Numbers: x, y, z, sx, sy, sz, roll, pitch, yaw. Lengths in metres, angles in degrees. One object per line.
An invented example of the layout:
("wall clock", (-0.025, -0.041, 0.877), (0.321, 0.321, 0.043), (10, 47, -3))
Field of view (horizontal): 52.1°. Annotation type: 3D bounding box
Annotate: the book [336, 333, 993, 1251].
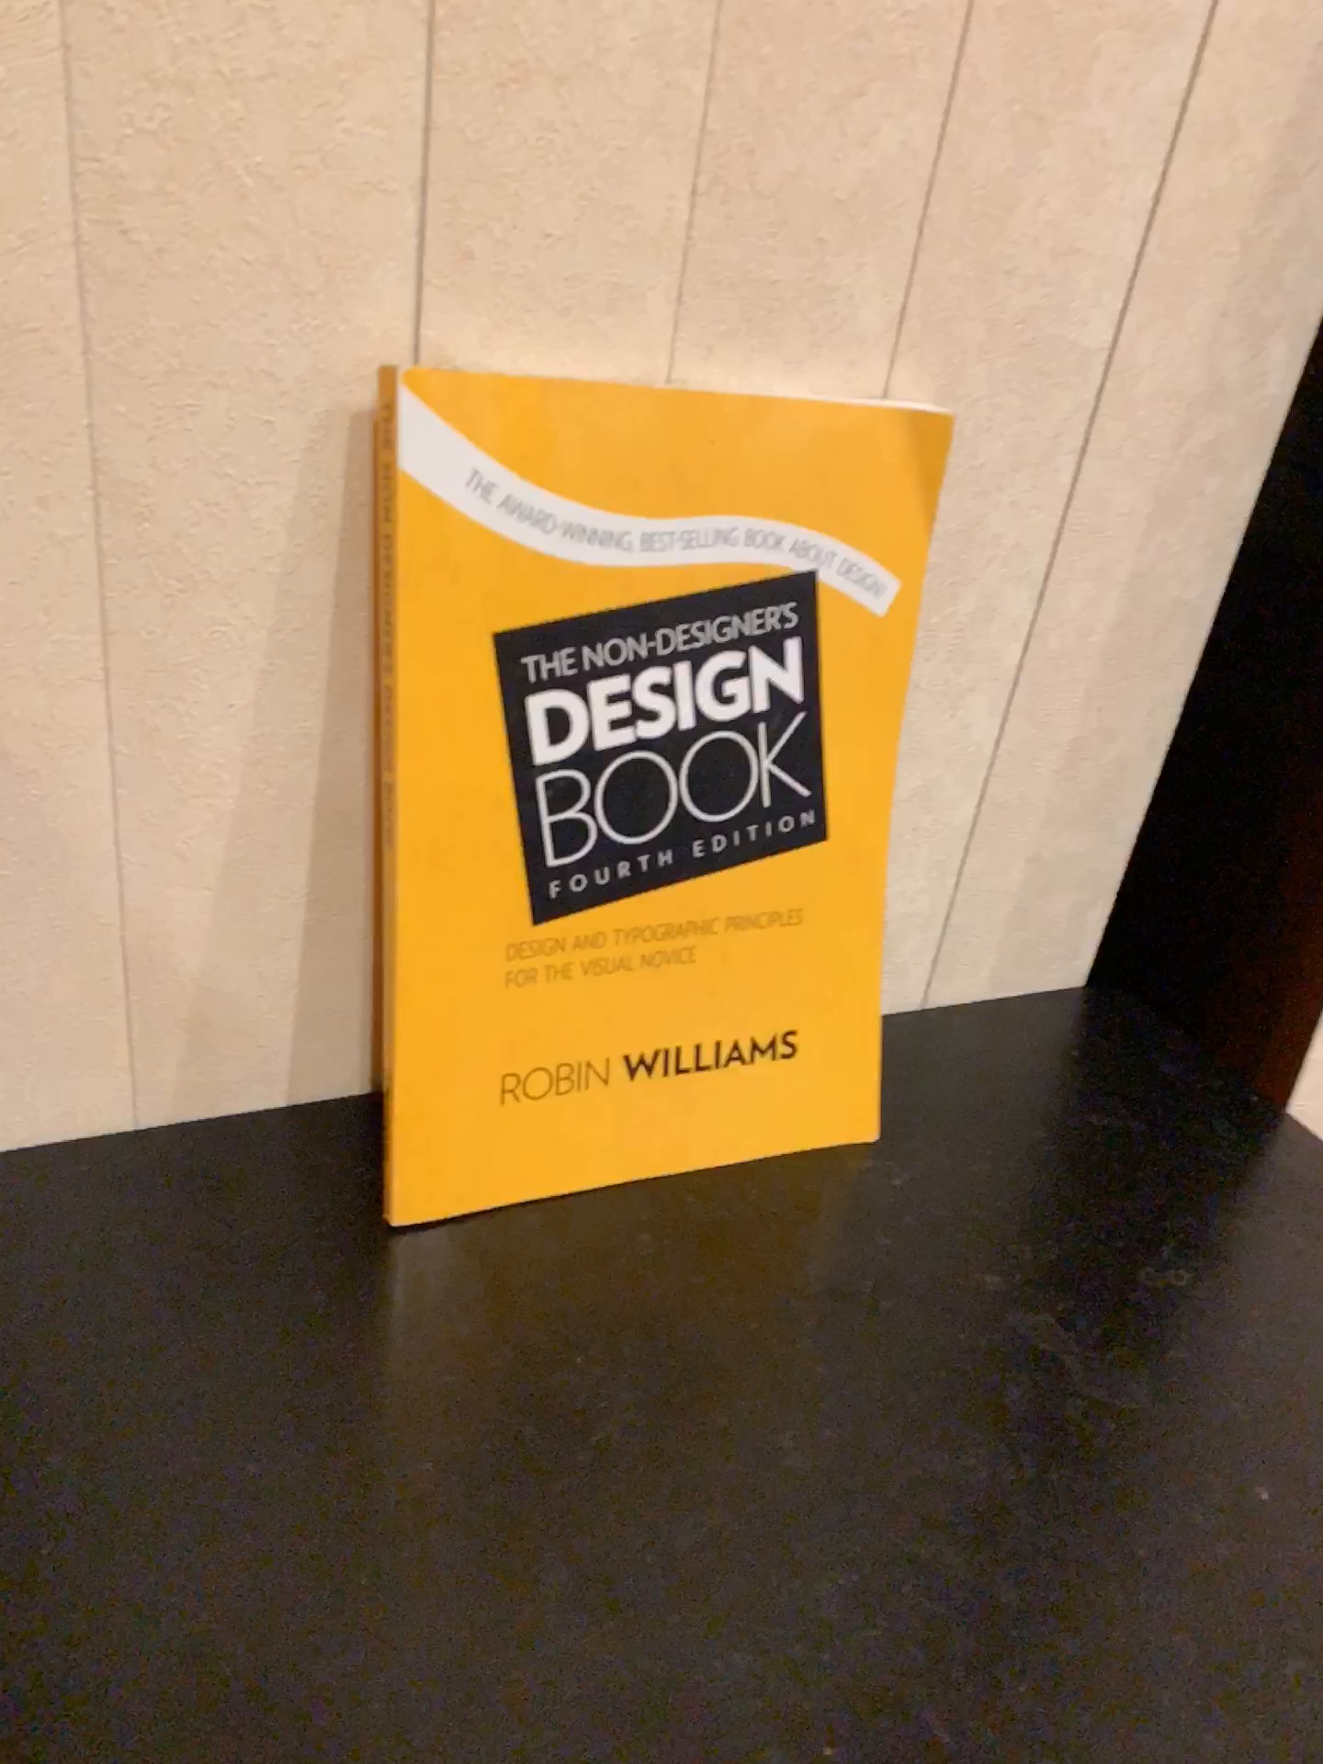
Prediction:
("book", (0.001, -0.024, 0.422), (0.190, 0.259, 0.030), (-5, 18, -22))
